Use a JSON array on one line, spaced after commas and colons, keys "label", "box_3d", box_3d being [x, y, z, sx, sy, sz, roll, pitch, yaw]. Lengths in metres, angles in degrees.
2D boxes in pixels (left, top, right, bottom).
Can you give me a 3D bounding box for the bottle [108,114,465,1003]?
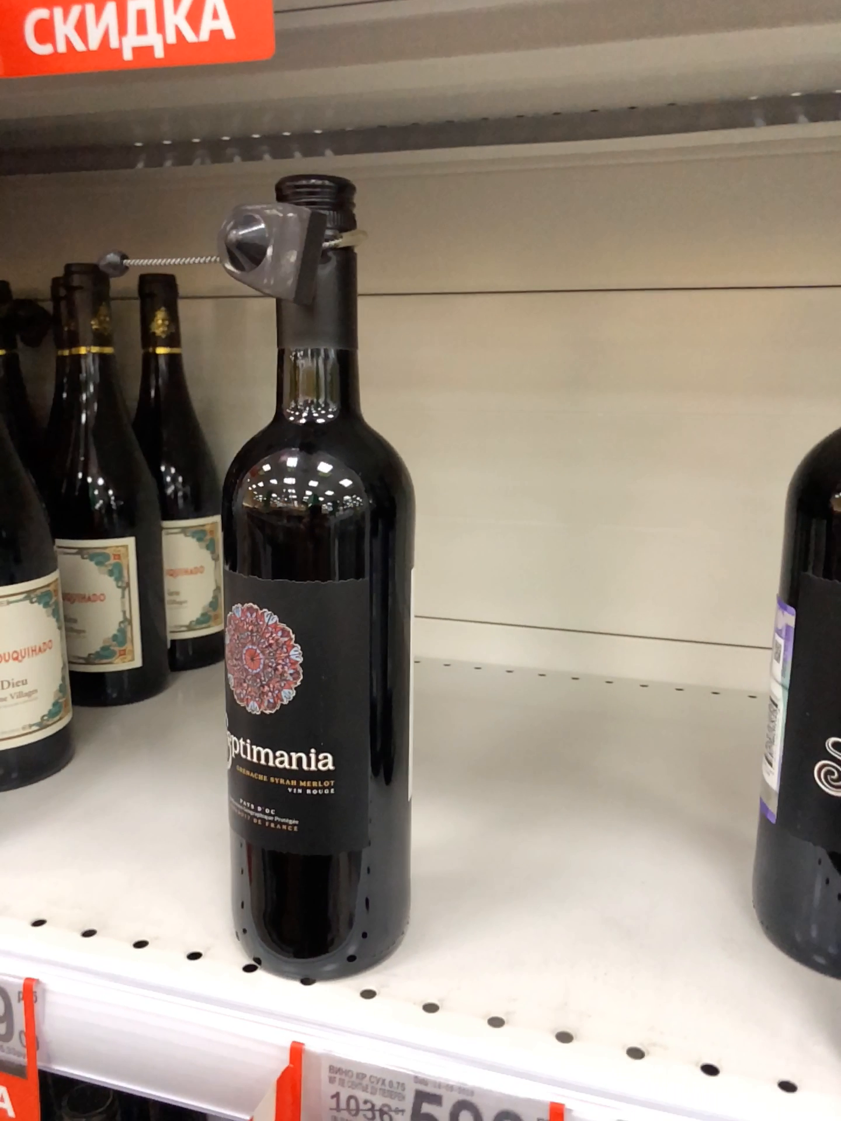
[{"label": "bottle", "box_3d": [-0.043, 0.000, 0.356, 0.090, 0.291, 0.090, 0, 12, 0]}]
